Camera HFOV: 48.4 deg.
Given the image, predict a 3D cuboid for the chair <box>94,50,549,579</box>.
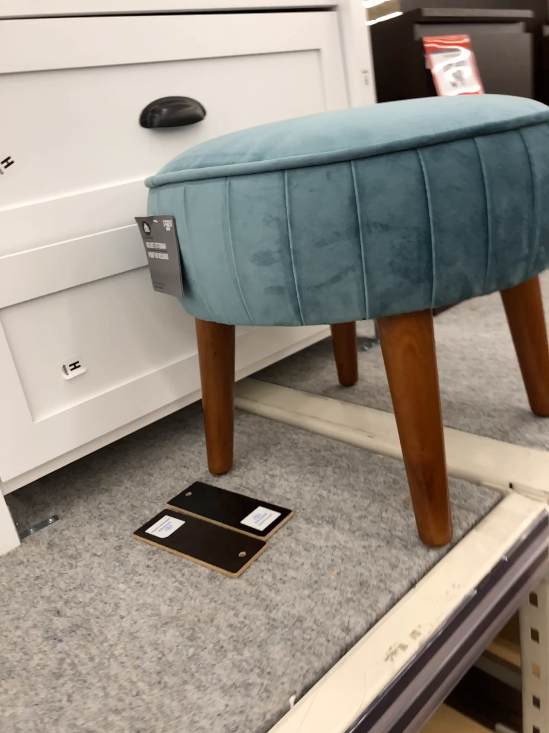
[{"bbox_3d":[0.096,-0.094,0.702,0.371,0.399,0.371,-26,24,-38],"label":"chair"}]
